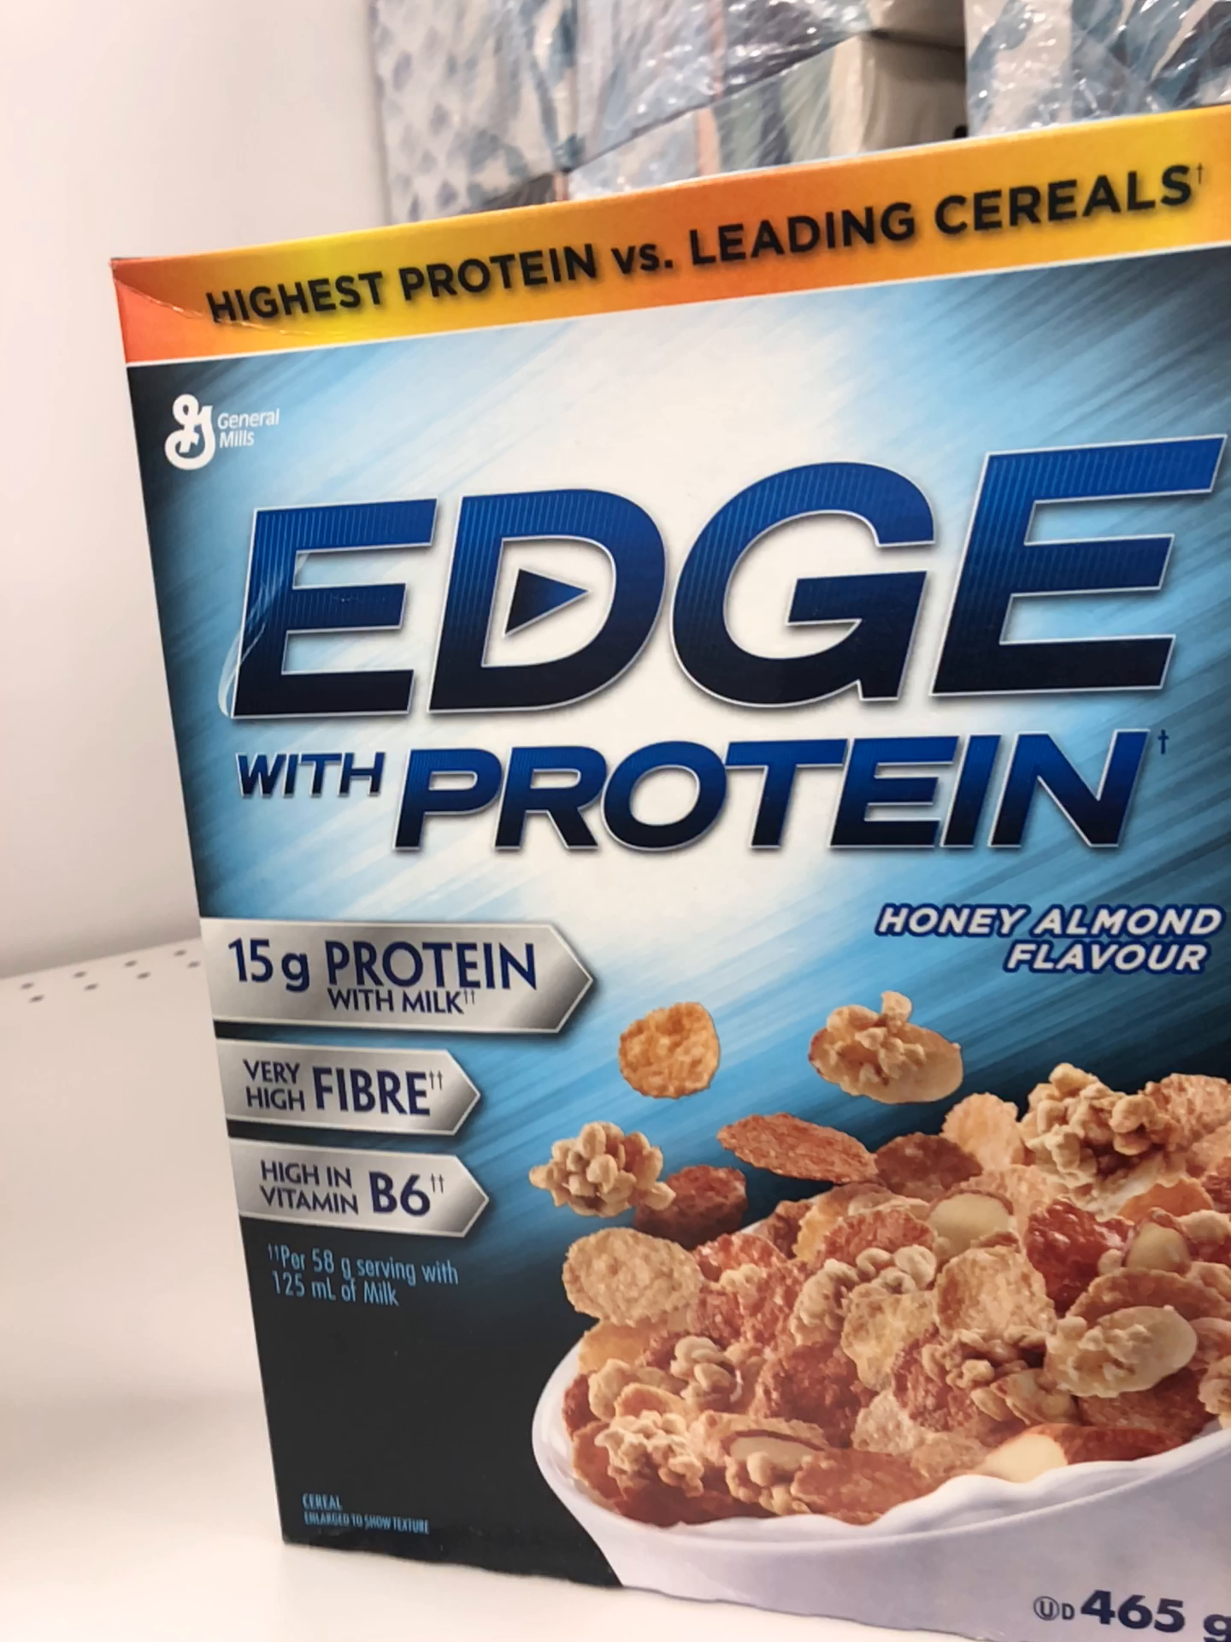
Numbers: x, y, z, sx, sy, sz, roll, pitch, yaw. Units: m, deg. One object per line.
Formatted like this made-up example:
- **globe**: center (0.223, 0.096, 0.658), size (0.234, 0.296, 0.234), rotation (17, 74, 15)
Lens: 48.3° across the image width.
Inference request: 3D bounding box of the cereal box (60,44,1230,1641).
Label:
- **cereal box**: center (0.016, 0.024, 0.269), size (0.200, 0.279, 0.050), rotation (-1, 12, 15)
